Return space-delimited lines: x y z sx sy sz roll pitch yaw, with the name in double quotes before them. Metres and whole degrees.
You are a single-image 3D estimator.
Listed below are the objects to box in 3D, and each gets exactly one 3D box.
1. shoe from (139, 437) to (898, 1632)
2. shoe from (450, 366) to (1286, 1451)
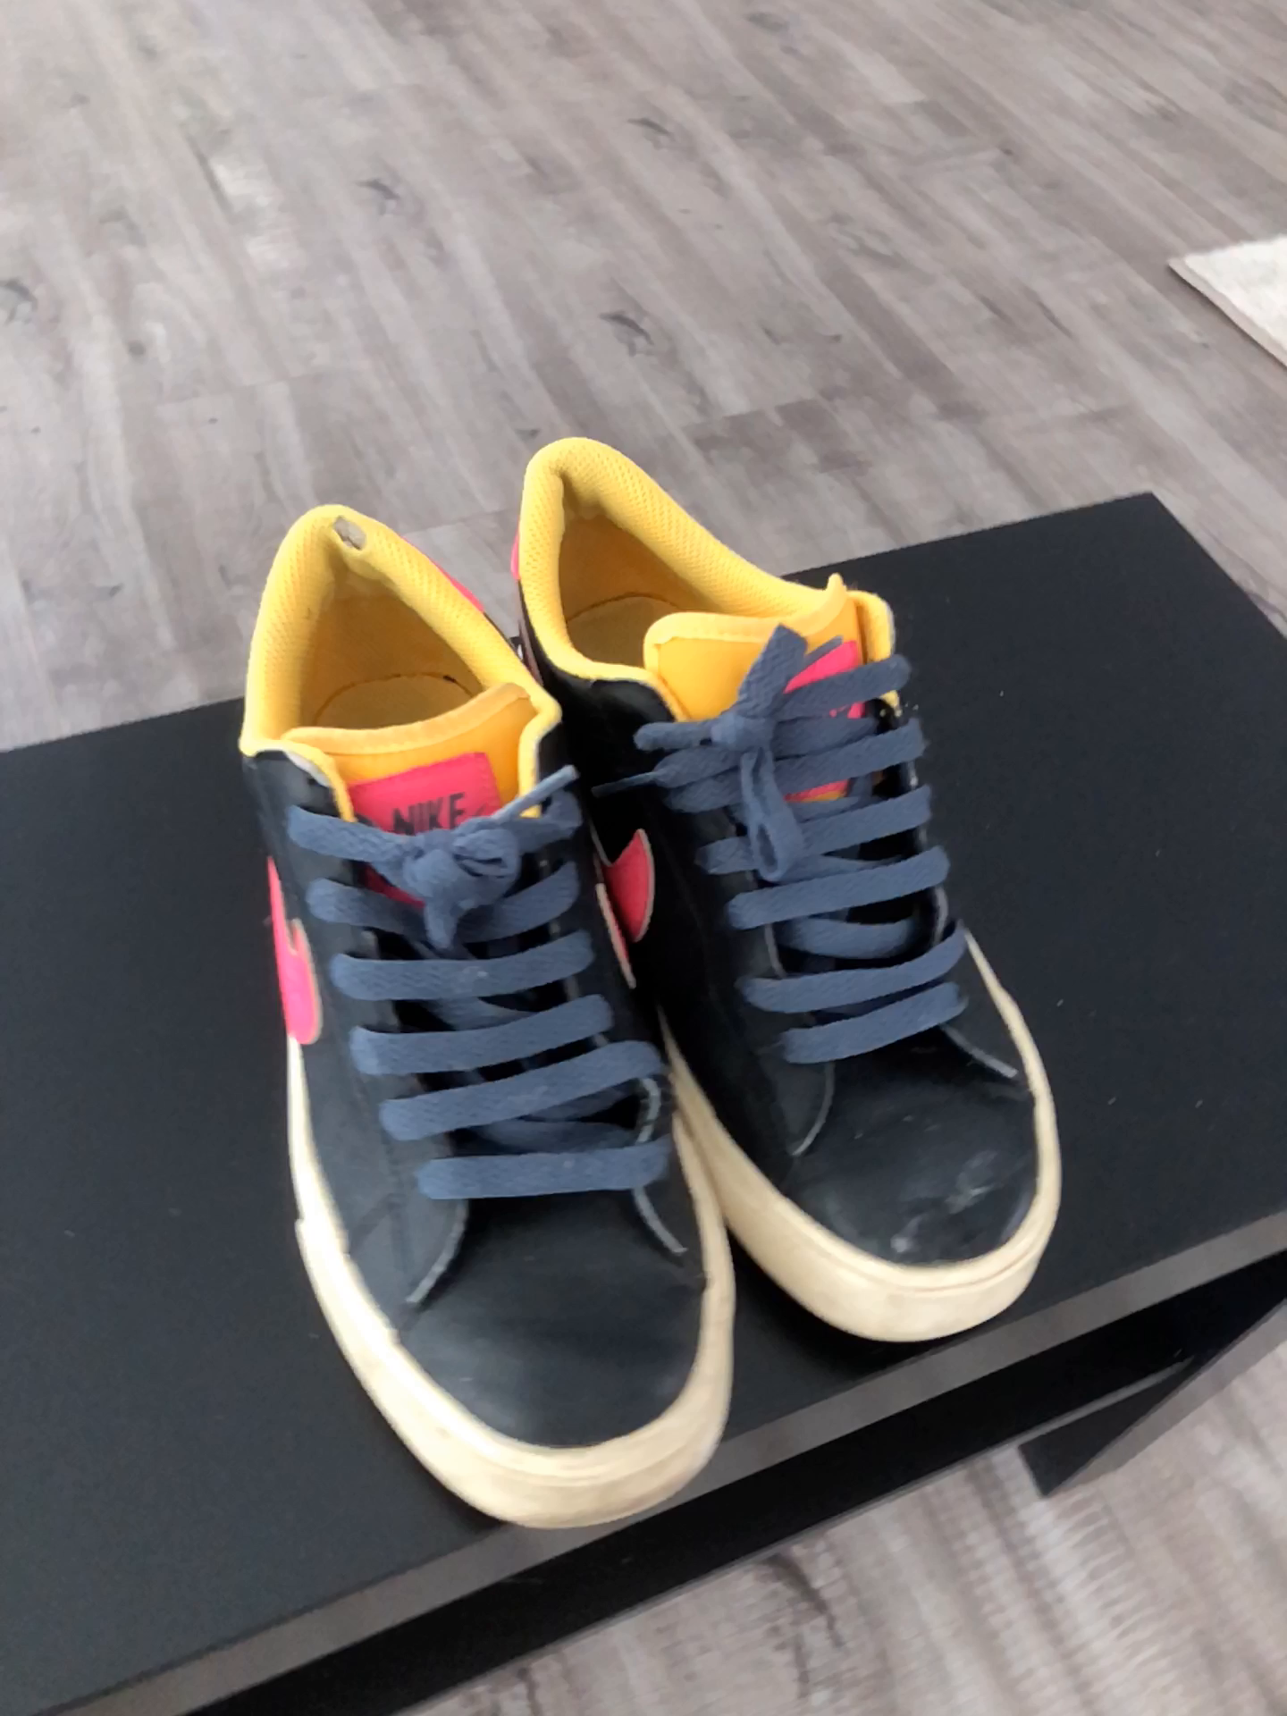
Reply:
"shoe" -0.043 0.025 0.331 0.095 0.100 0.245 -14 54 -12
"shoe" 0.040 -0.002 0.355 0.090 0.100 0.245 -19 56 -15
